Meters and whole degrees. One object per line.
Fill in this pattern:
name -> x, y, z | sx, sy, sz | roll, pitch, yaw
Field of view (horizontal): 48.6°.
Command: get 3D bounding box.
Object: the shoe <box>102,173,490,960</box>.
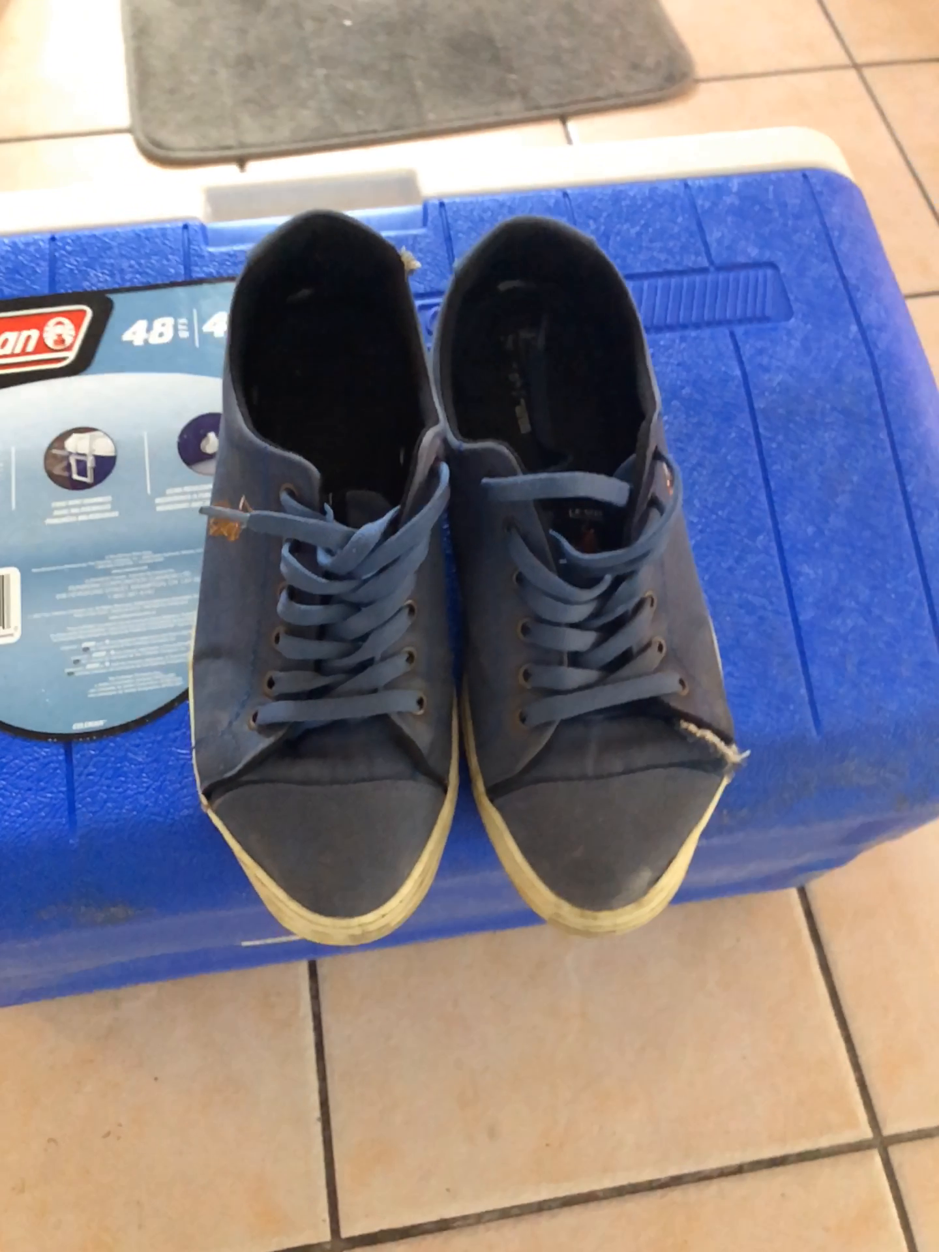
shoe -> -0.055, -0.025, 0.378 | 0.107, 0.090, 0.271 | -2, 69, -2

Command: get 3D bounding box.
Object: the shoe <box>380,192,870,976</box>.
shoe -> 0.039, -0.024, 0.388 | 0.107, 0.090, 0.271 | -7, 65, -5
